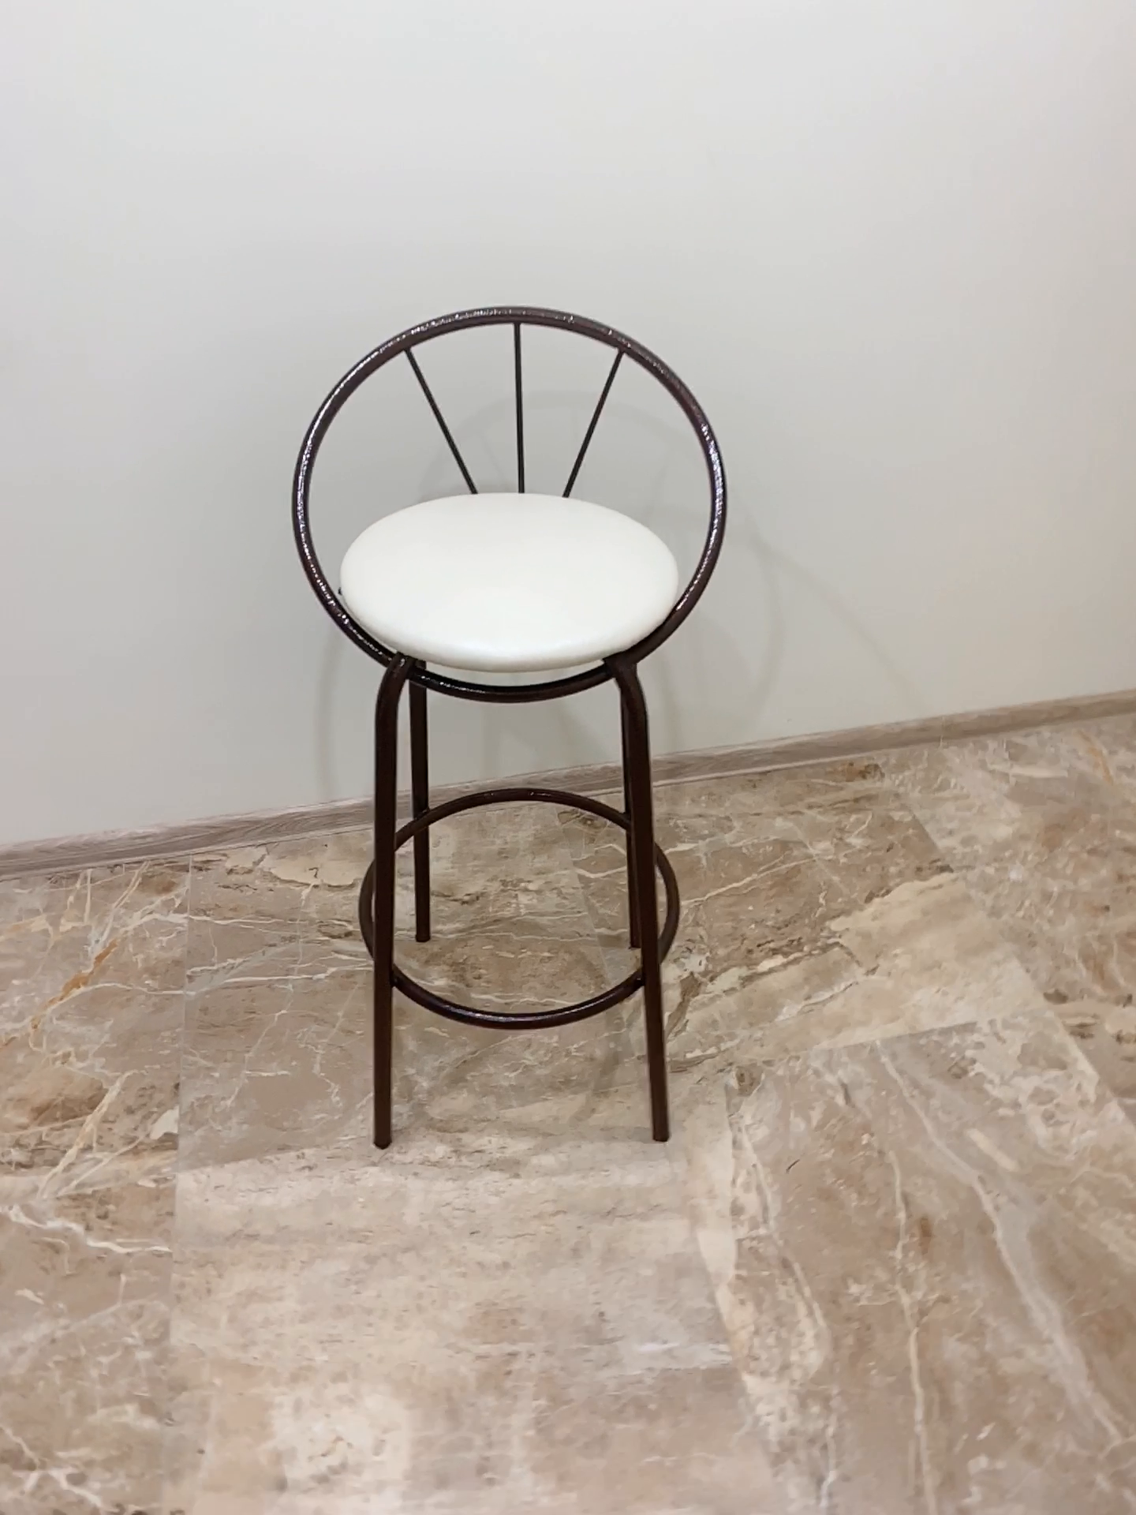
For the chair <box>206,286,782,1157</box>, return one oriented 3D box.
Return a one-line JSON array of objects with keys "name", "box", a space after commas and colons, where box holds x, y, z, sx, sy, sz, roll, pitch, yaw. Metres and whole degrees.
[{"name": "chair", "box": [-0.059, -0.003, 1.219, 0.400, 0.835, 0.402, 0, 38, -1]}]
